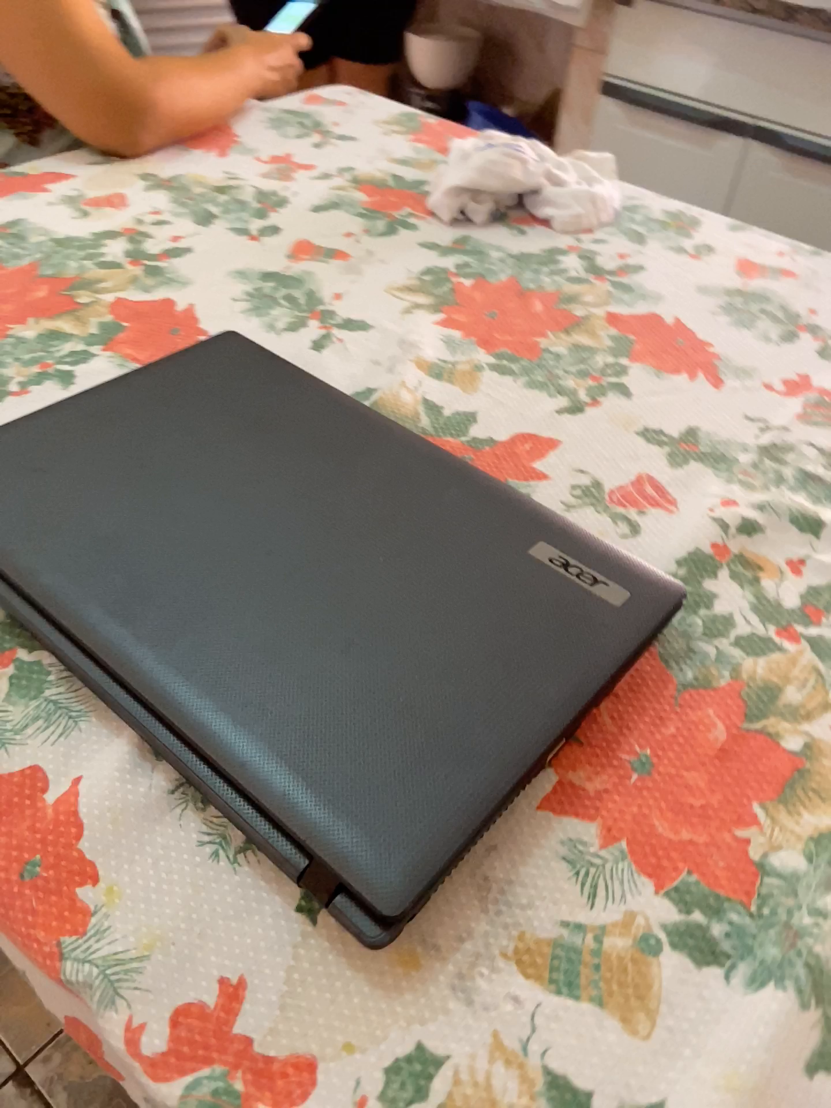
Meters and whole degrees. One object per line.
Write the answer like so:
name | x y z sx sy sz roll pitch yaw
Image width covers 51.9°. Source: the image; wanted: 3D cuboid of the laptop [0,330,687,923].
laptop | -0.065 -0.010 0.449 0.351 0.001 0.224 33 51 25
